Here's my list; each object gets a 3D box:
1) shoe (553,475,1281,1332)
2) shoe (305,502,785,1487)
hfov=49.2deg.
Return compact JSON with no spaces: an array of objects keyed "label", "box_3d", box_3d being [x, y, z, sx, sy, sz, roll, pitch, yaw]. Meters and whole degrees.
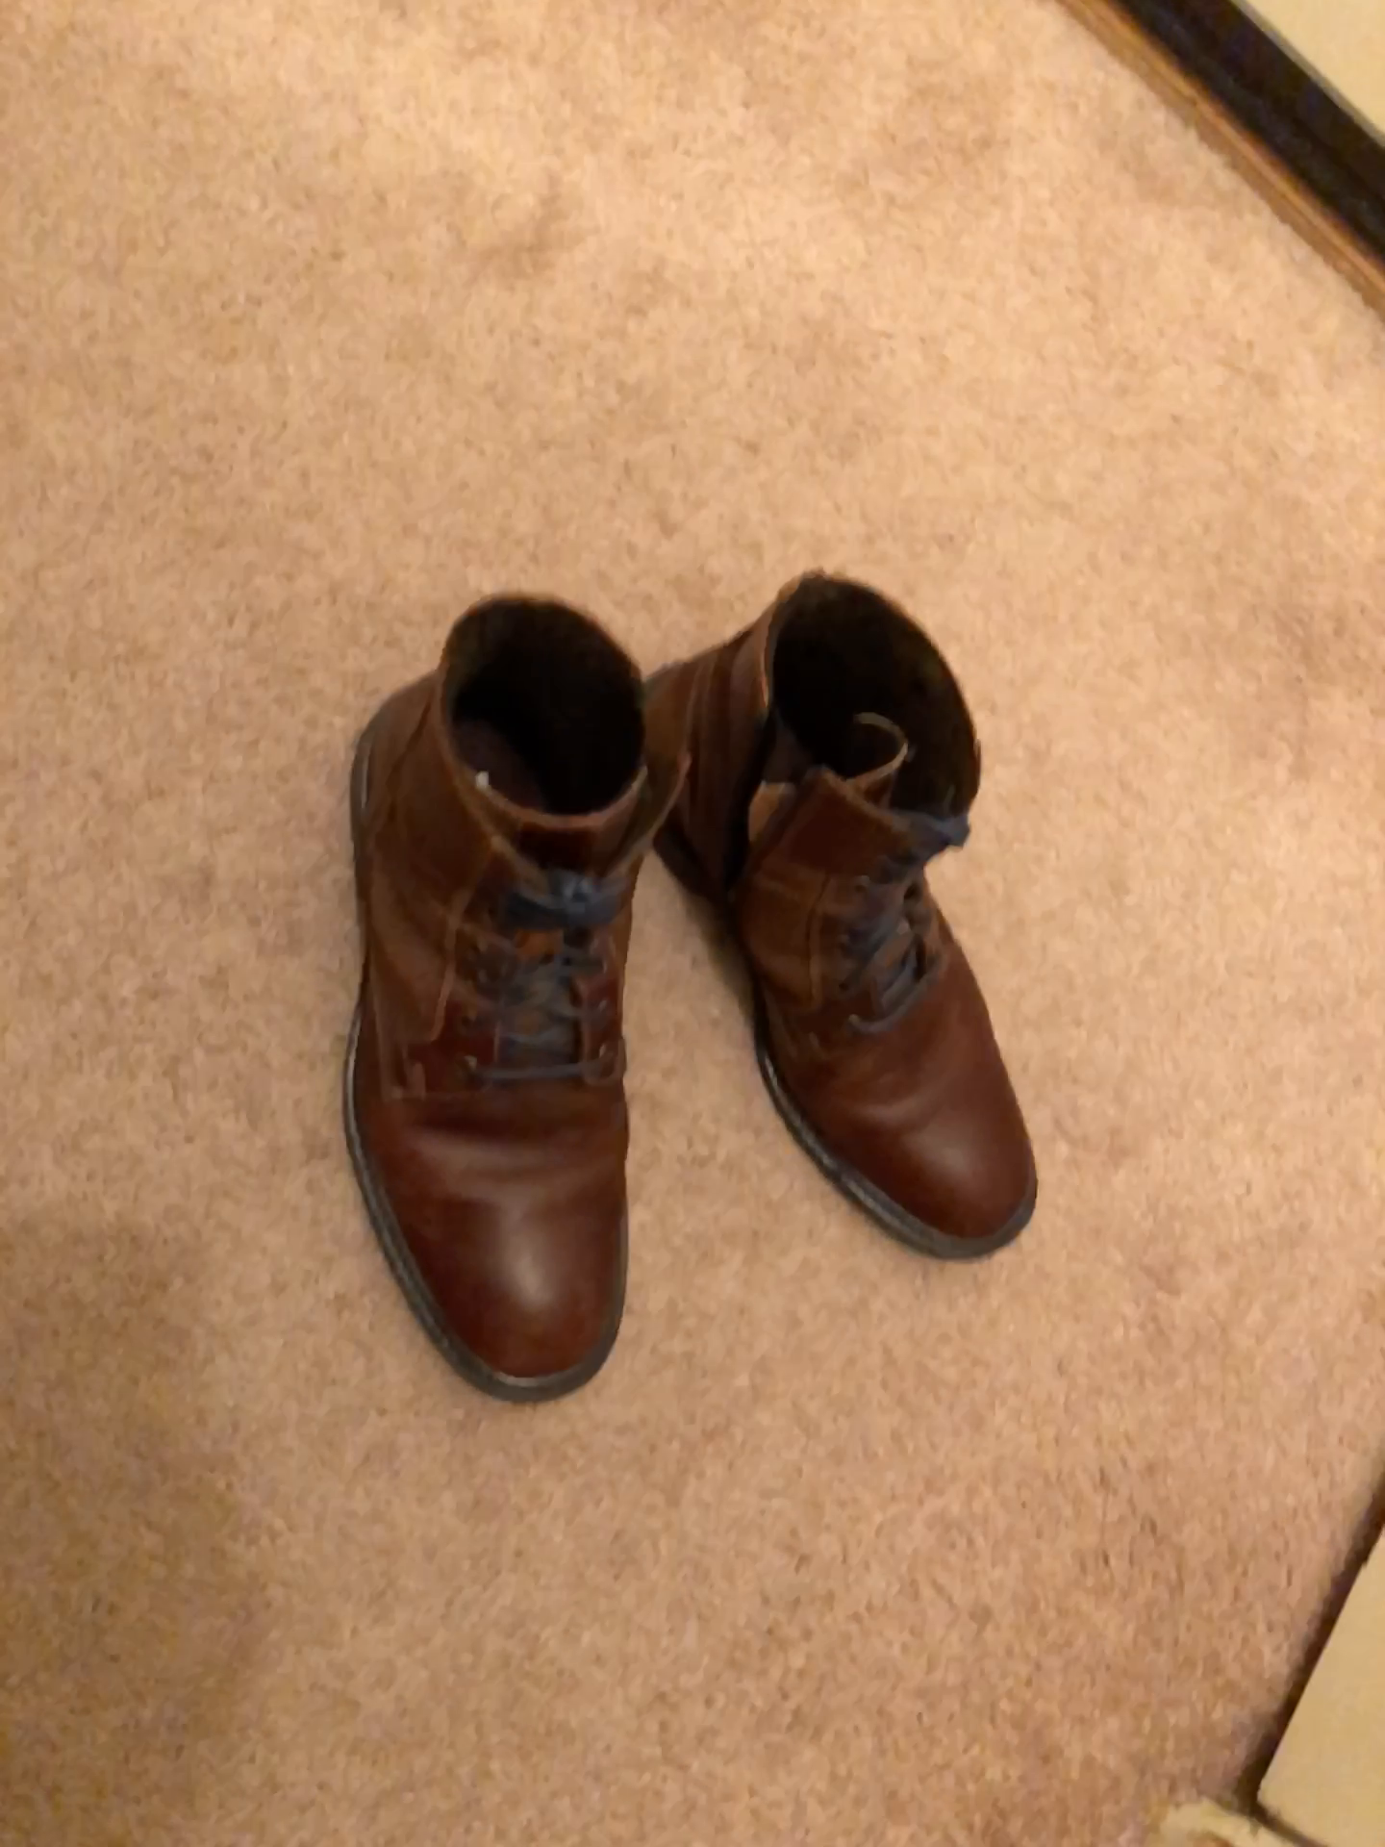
[{"label":"shoe","box_3d":[0.079,0.002,0.633,0.110,0.173,0.301,-27,89,-21]},{"label":"shoe","box_3d":[-0.070,0.026,0.578,0.113,0.173,0.316,-4,81,-20]}]
